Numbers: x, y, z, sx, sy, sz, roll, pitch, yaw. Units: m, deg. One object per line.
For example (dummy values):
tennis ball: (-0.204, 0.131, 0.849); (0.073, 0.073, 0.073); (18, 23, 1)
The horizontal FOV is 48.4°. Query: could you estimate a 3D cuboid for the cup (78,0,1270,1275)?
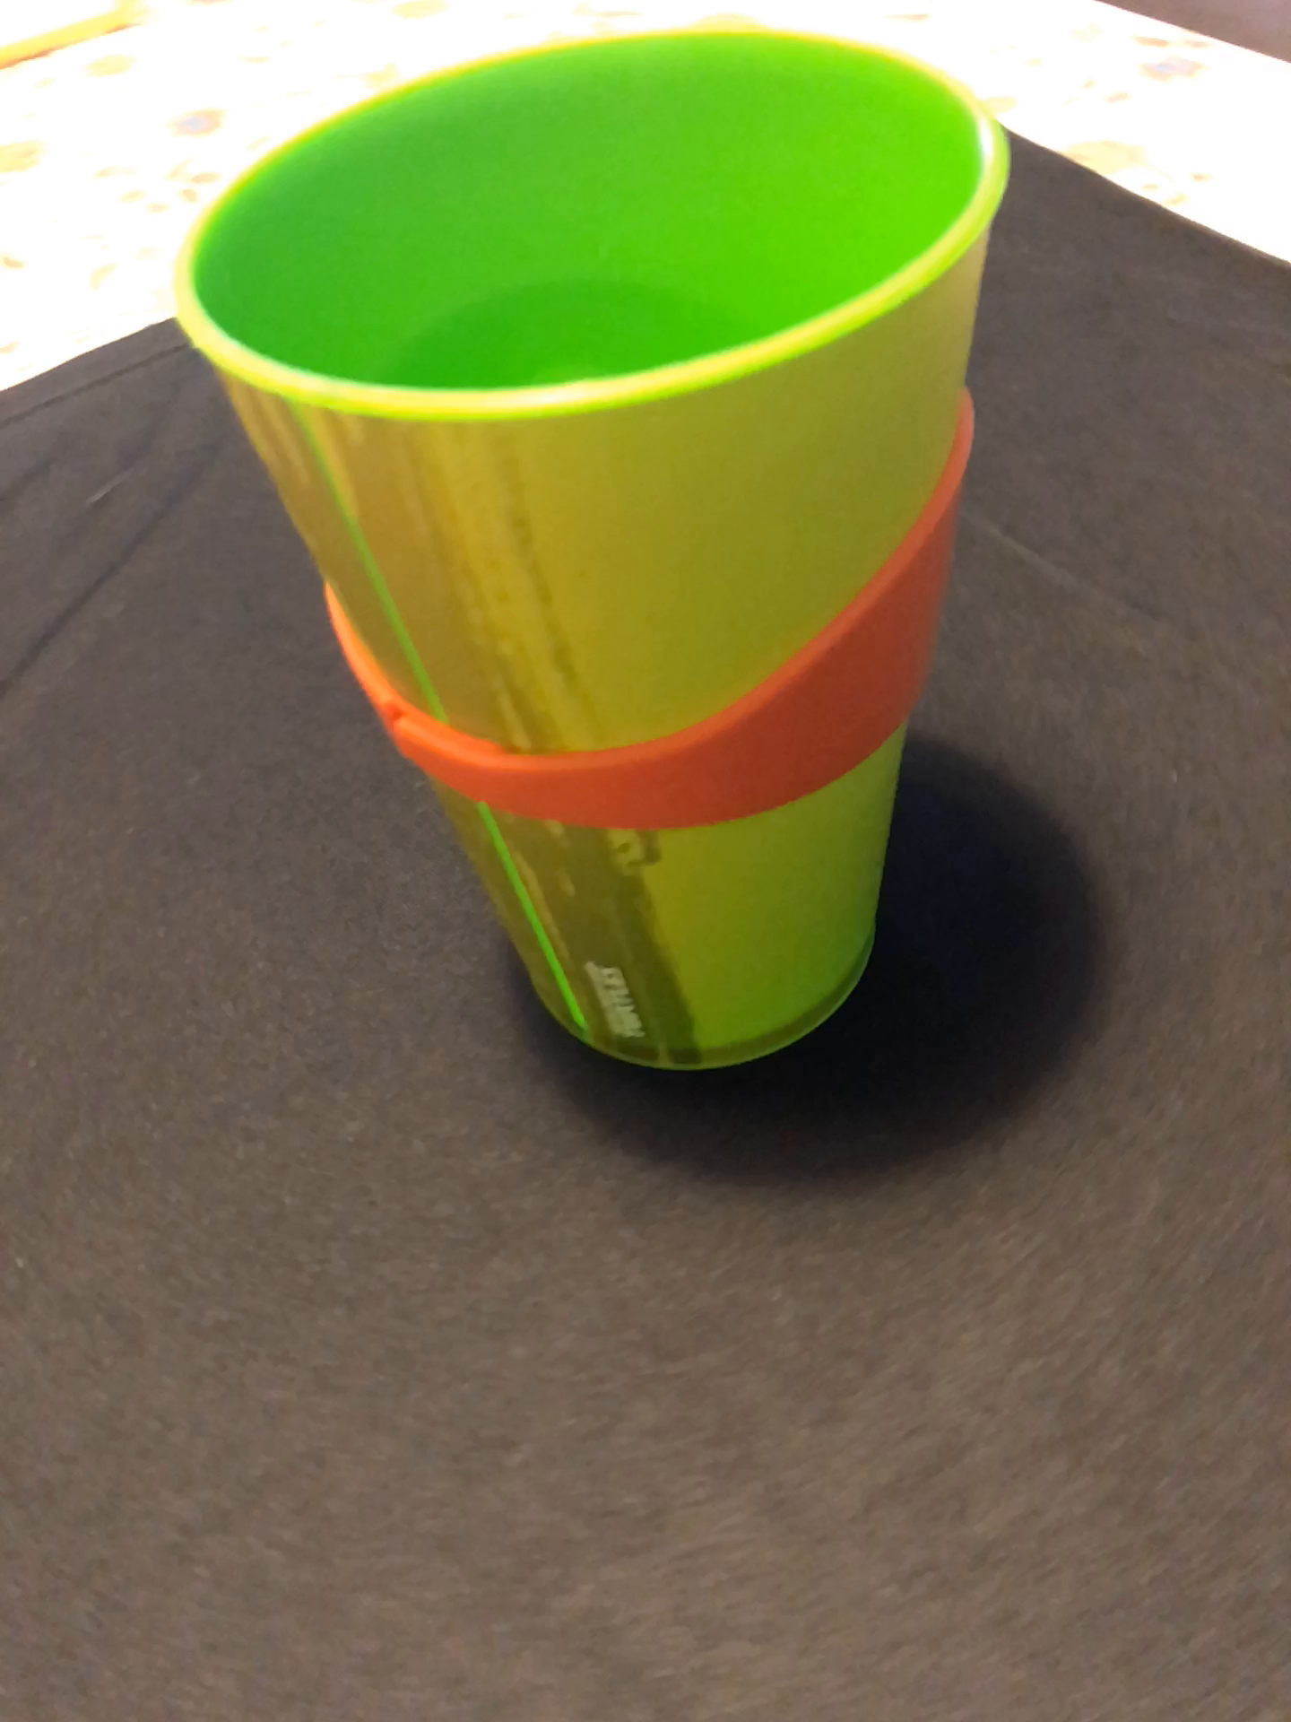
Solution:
cup: (0.015, -0.035, 0.221); (0.100, 0.139, 0.110); (20, 55, 24)
